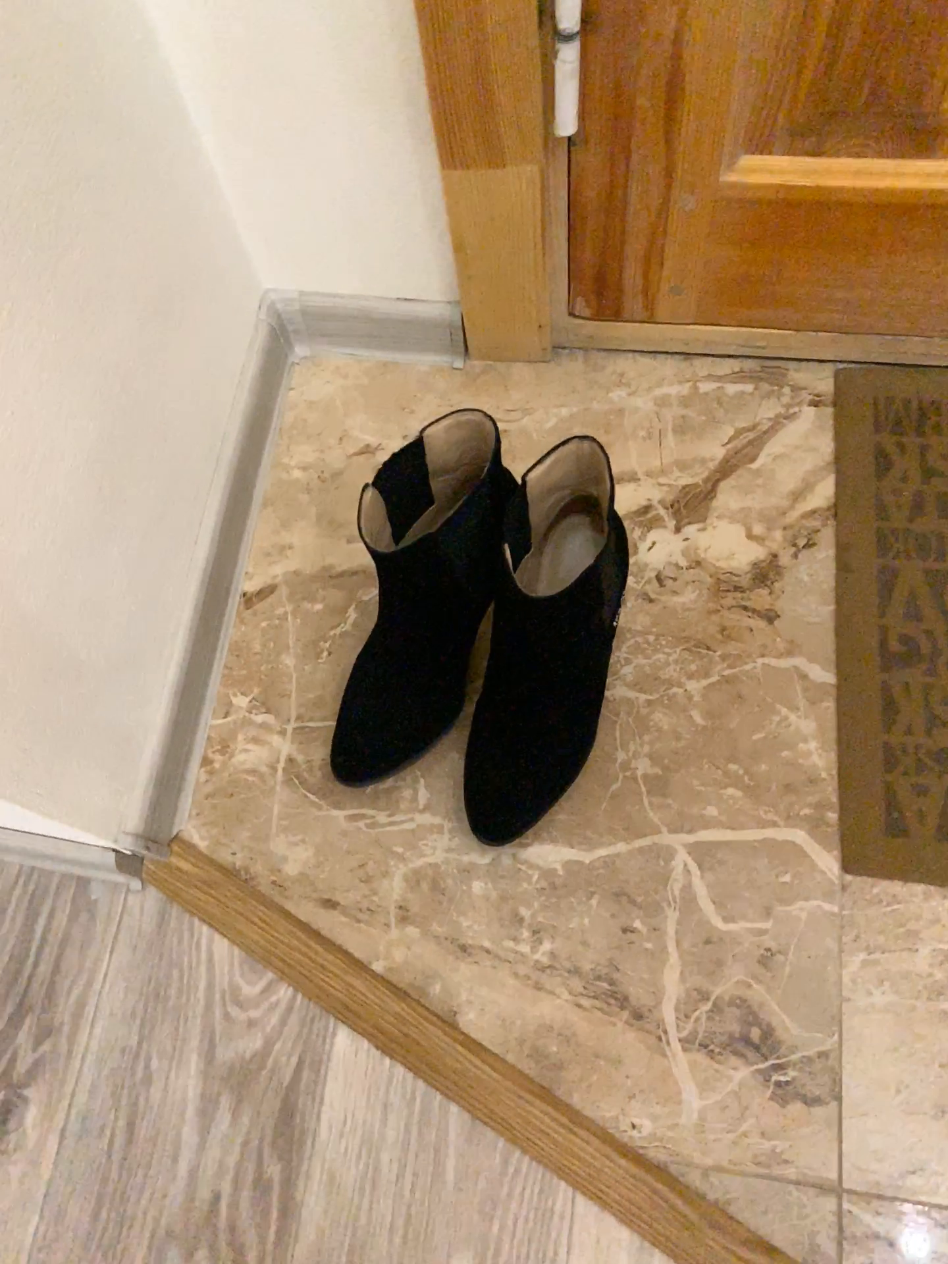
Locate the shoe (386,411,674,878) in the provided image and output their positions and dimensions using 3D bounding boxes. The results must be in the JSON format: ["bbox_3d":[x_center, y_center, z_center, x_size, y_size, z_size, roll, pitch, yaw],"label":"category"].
[{"bbox_3d":[0.042,0.019,0.599,0.086,0.199,0.215,17,70,12],"label":"shoe"}]

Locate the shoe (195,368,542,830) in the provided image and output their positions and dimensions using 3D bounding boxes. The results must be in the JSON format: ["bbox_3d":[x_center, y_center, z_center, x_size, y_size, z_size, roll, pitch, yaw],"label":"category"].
[{"bbox_3d":[-0.047,-0.010,0.614,0.086,0.199,0.214,25,72,15],"label":"shoe"}]
